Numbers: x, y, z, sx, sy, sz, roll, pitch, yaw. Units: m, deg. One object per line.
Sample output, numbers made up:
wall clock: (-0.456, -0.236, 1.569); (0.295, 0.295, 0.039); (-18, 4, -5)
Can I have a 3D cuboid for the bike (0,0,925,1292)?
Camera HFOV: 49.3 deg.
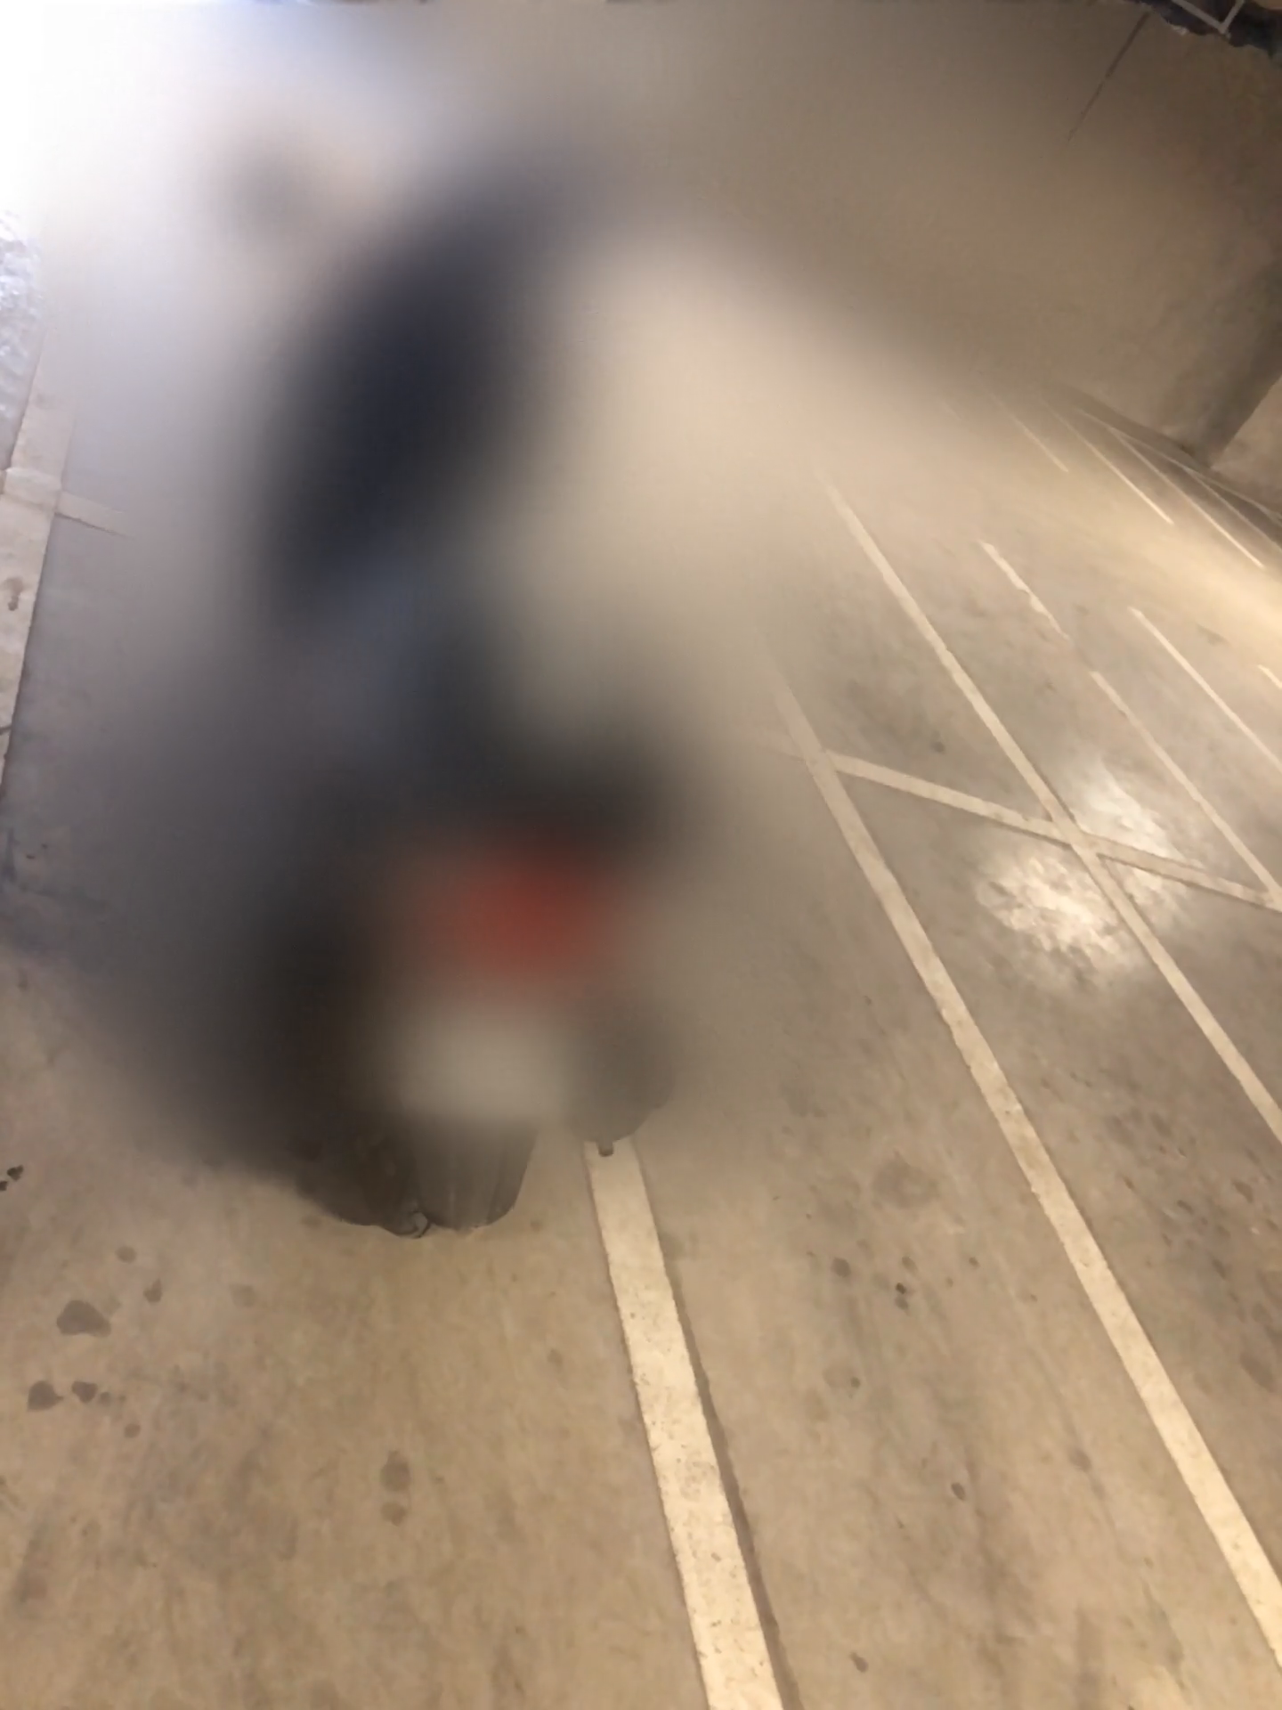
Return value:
bike: (-0.459, -0.597, 2.148); (0.583, 1.188, 1.958); (13, 40, -30)
